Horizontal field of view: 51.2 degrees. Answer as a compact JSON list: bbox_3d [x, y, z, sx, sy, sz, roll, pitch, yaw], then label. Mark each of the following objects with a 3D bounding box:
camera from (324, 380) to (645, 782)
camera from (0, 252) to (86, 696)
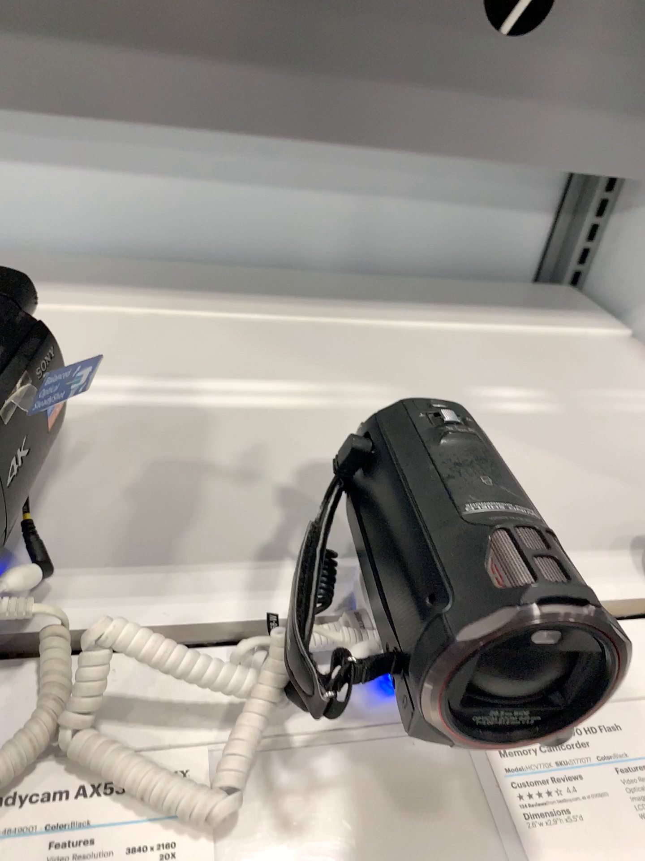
[{"bbox_3d":[0.049,0.041,0.247,0.065,0.061,0.139,2,30,-13],"label":"camera"},{"bbox_3d":[-0.140,0.001,0.245,0.071,0.073,0.167,4,32,-10],"label":"camera"}]
